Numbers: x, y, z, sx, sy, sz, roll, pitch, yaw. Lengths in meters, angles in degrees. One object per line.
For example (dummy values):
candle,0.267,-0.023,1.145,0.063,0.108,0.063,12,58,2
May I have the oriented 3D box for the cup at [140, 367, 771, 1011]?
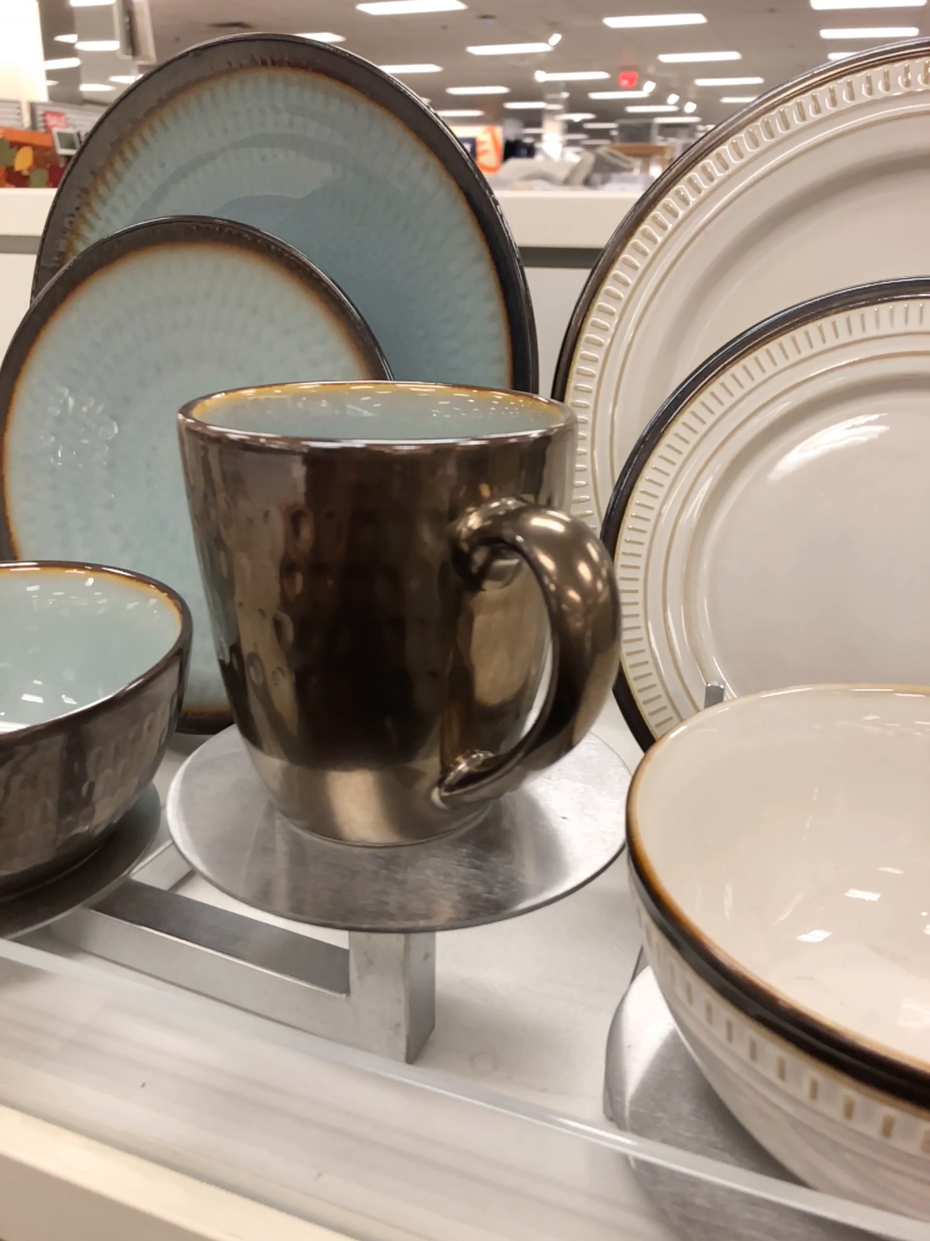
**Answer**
cup,-0.007,0.001,0.245,0.083,0.100,0.117,-18,28,-37
